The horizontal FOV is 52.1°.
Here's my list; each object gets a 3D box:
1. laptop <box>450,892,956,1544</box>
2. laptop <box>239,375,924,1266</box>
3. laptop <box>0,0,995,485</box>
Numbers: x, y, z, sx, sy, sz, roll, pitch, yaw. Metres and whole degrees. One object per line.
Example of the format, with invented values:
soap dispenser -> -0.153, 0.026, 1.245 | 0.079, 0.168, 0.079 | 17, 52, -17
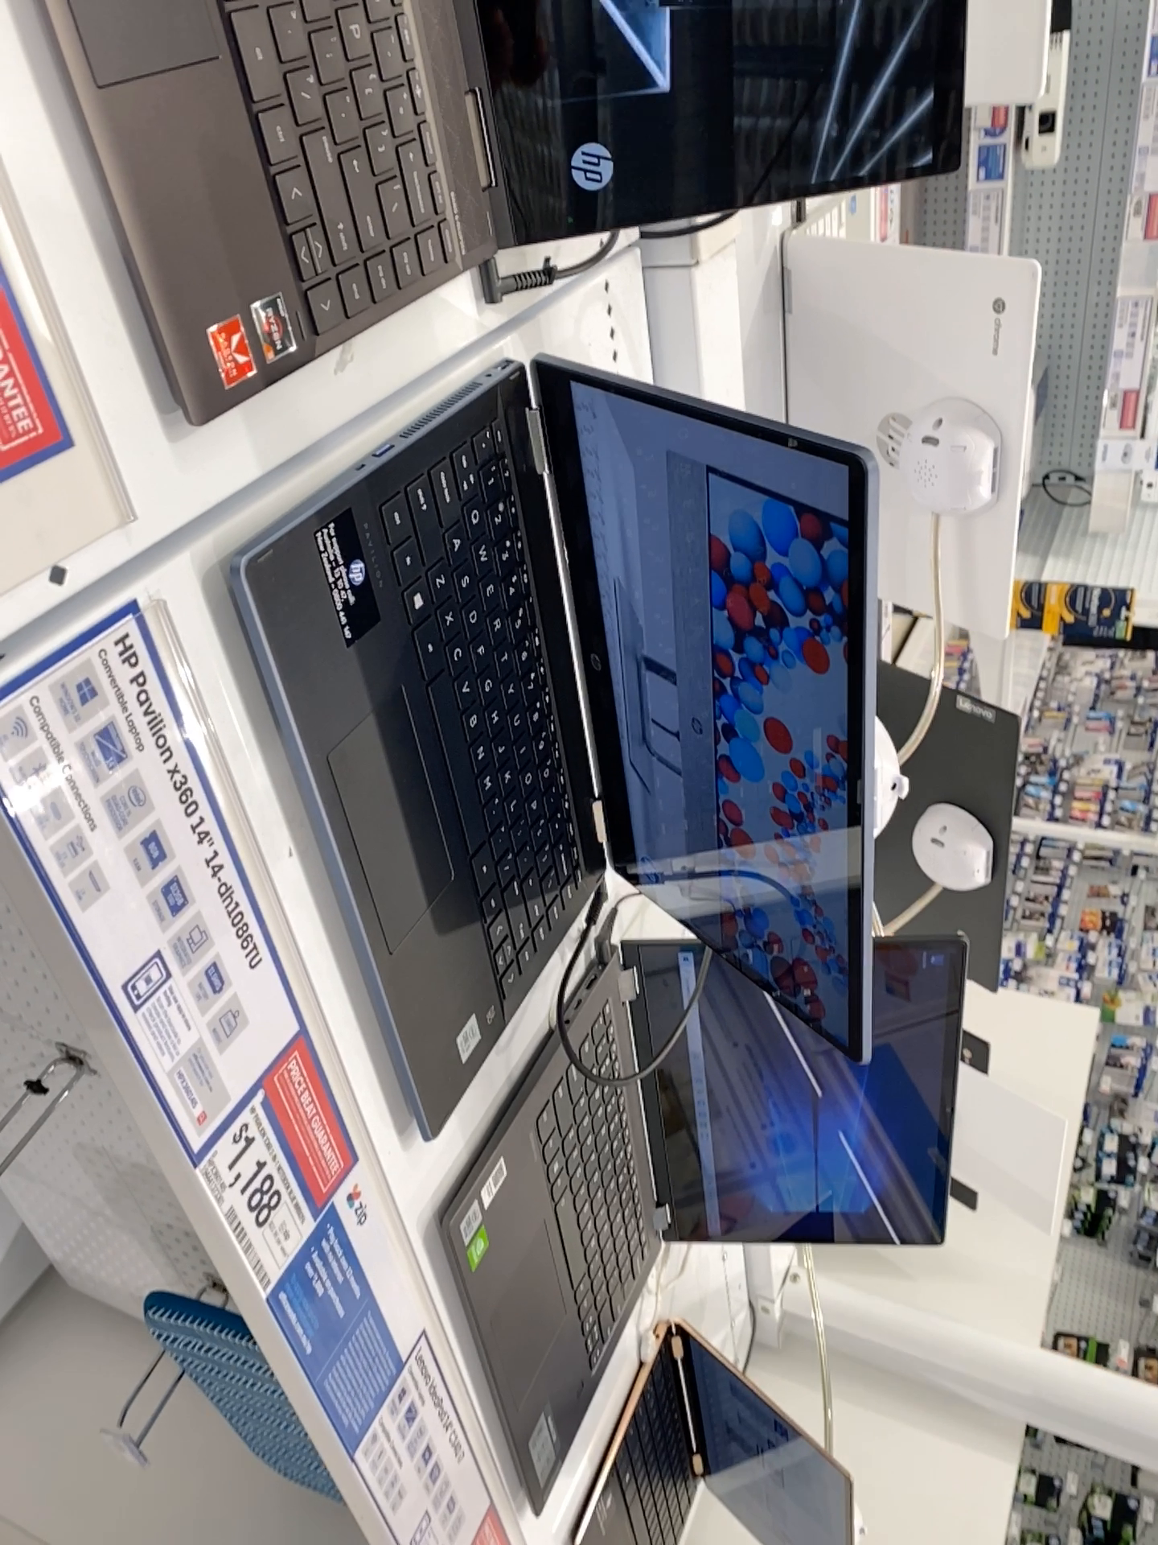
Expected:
laptop -> 0.107, 0.307, 0.773 | 0.295, 0.199, 0.307 | -50, 141, -46
laptop -> 0.033, 0.013, 0.537 | 0.211, 0.189, 0.314 | -54, 144, -44
laptop -> 0.000, -0.316, 0.371 | 0.325, 0.173, 0.326 | -51, 140, -44
